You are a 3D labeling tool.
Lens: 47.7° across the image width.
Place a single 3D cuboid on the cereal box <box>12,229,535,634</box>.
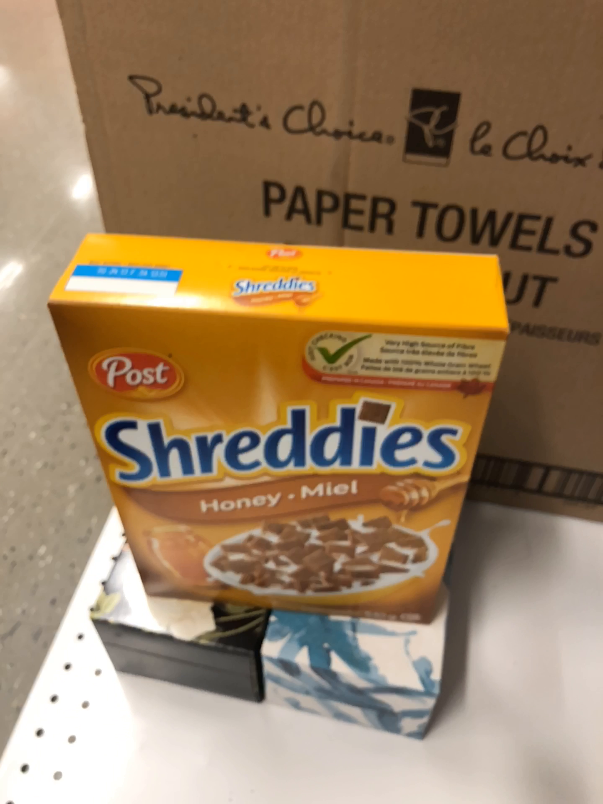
[{"bbox_3d":[-0.012,0.036,0.397,0.220,0.259,0.060,4,45,4],"label":"cereal box"}]
